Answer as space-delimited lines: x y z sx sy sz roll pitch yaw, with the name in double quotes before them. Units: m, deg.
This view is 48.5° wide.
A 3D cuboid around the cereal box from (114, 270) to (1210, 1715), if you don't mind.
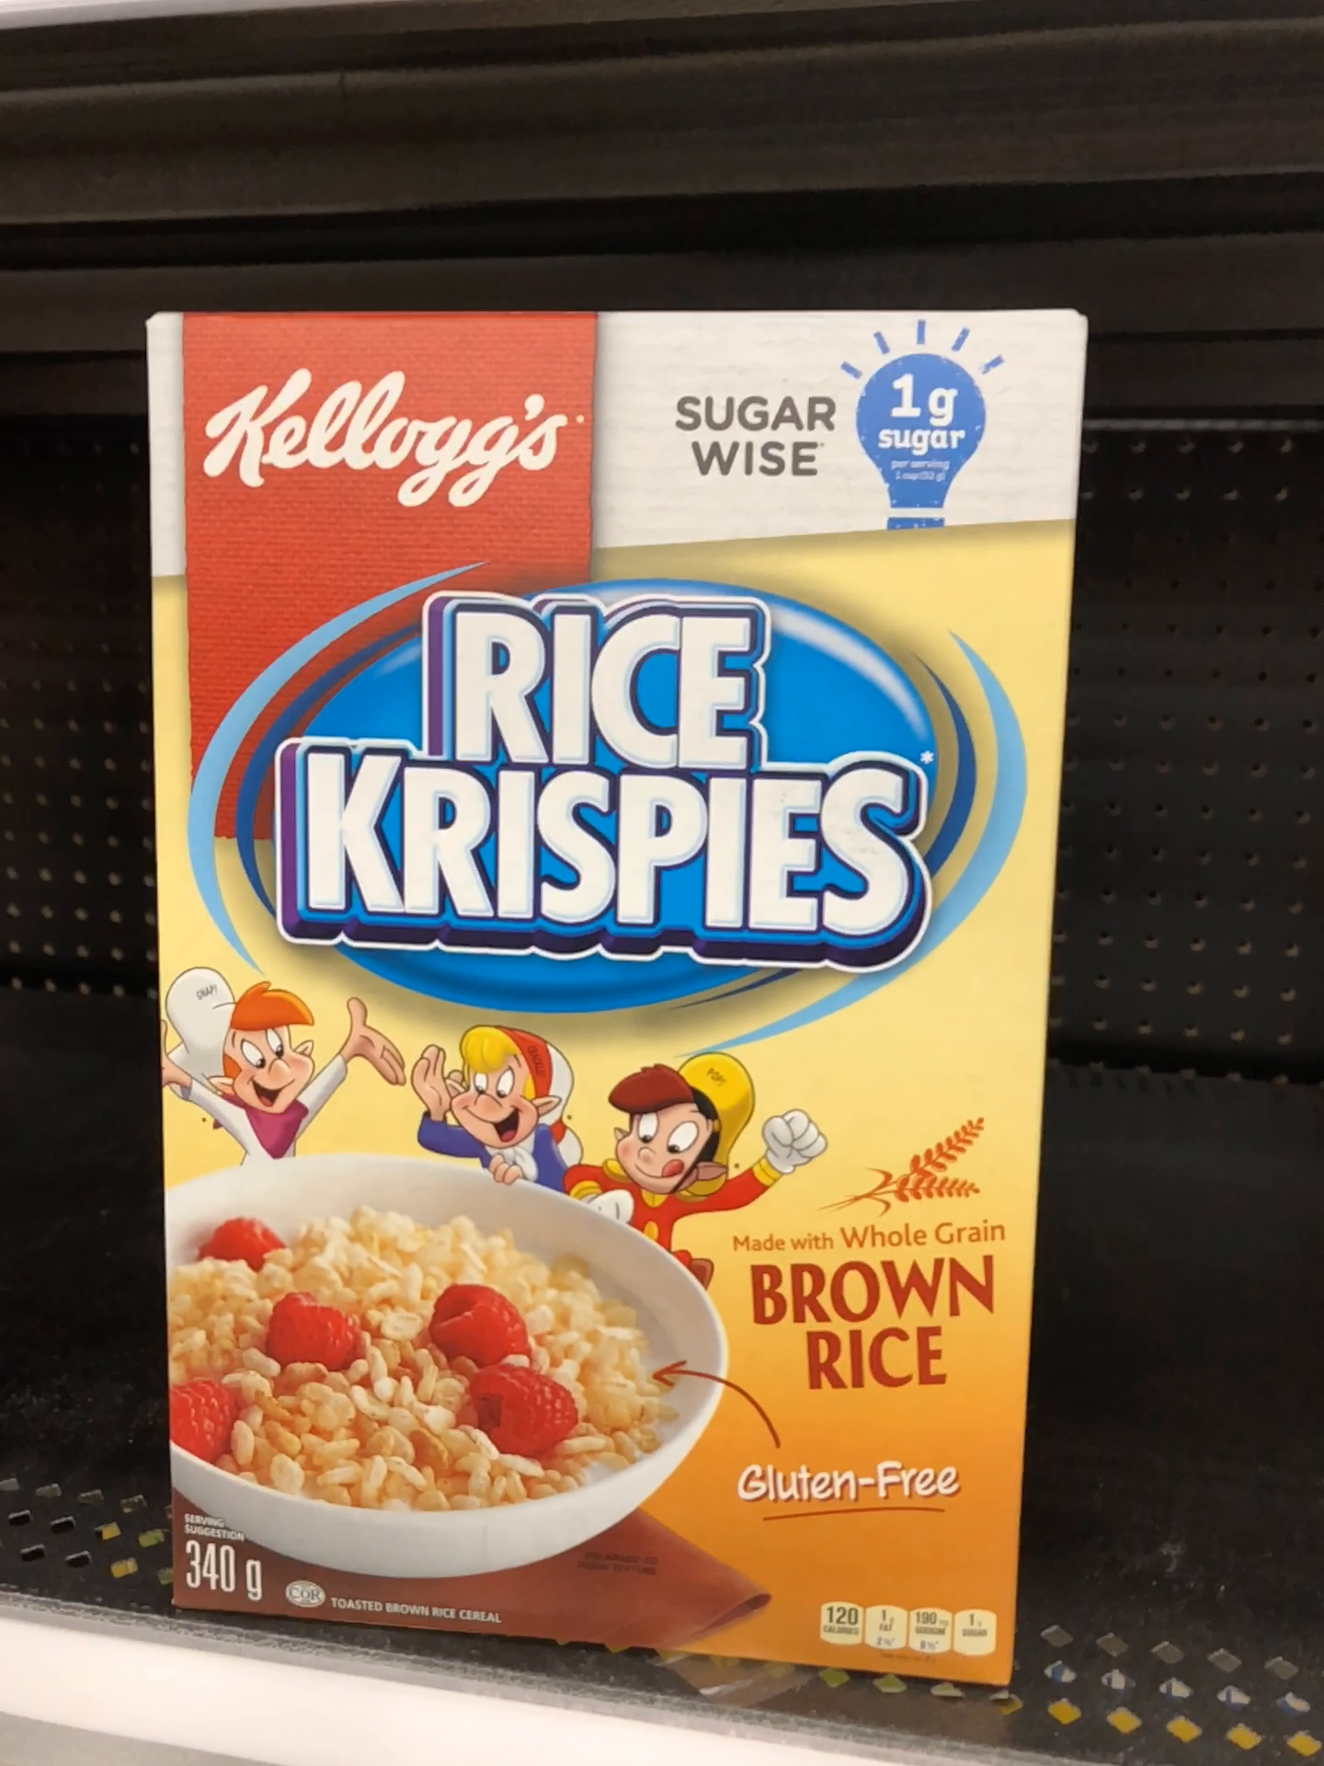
"cereal box" -0.004 0.023 0.330 0.210 0.289 0.060 2 8 7
